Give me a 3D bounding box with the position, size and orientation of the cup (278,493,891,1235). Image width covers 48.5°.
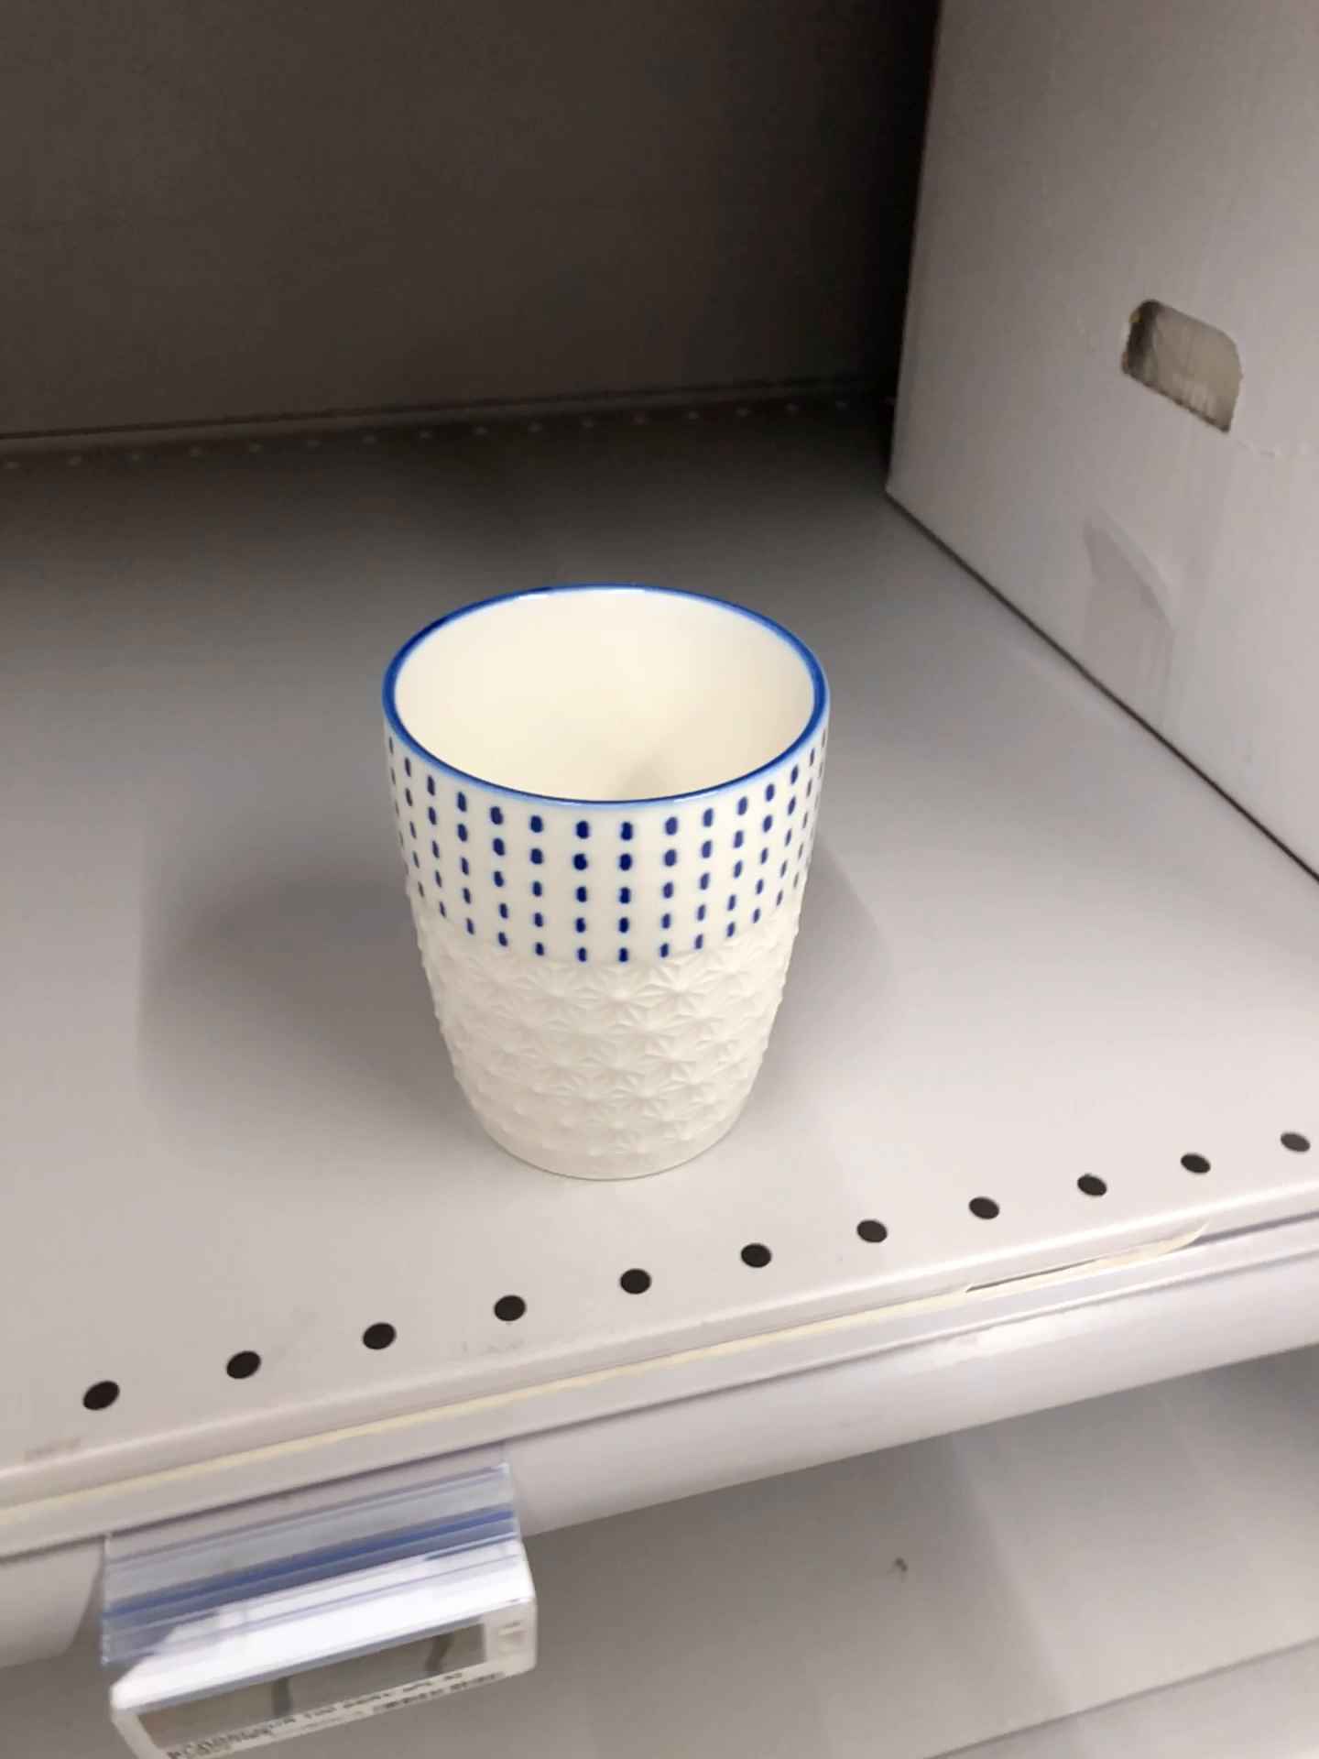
[{"bbox_3d":[-0.006,-0.009,0.309,0.096,0.096,0.120,6,37,6],"label":"cup"}]
